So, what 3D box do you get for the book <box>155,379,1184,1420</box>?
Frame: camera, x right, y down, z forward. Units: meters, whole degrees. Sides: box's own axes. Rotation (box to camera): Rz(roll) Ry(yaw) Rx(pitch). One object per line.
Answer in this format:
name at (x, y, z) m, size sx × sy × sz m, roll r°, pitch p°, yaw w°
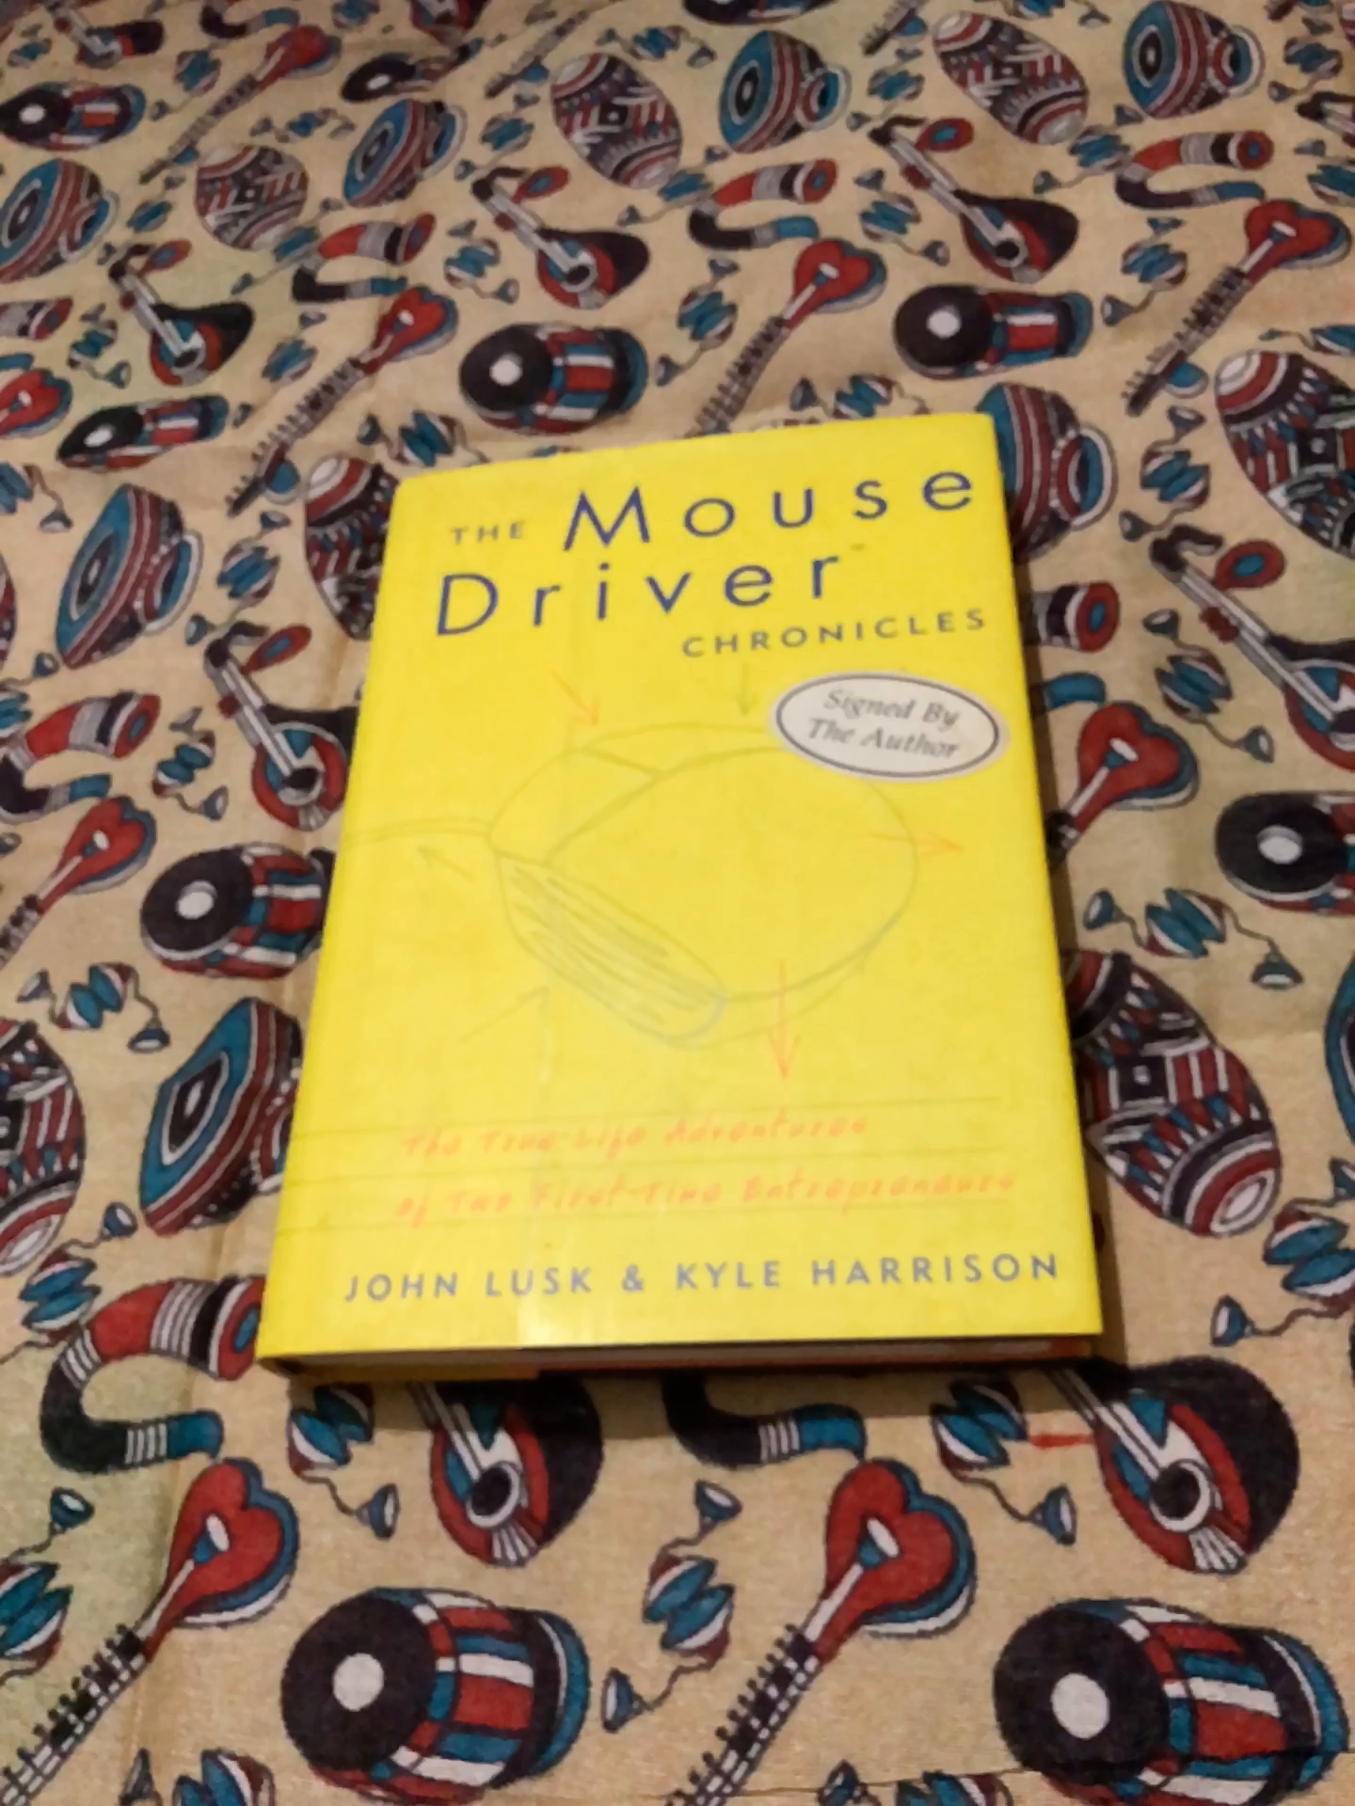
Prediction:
book at (0.001, -0.013, 0.313) m, size 0.160 × 0.040 × 0.221 m, roll -4°, pitch 55°, yaw 8°
